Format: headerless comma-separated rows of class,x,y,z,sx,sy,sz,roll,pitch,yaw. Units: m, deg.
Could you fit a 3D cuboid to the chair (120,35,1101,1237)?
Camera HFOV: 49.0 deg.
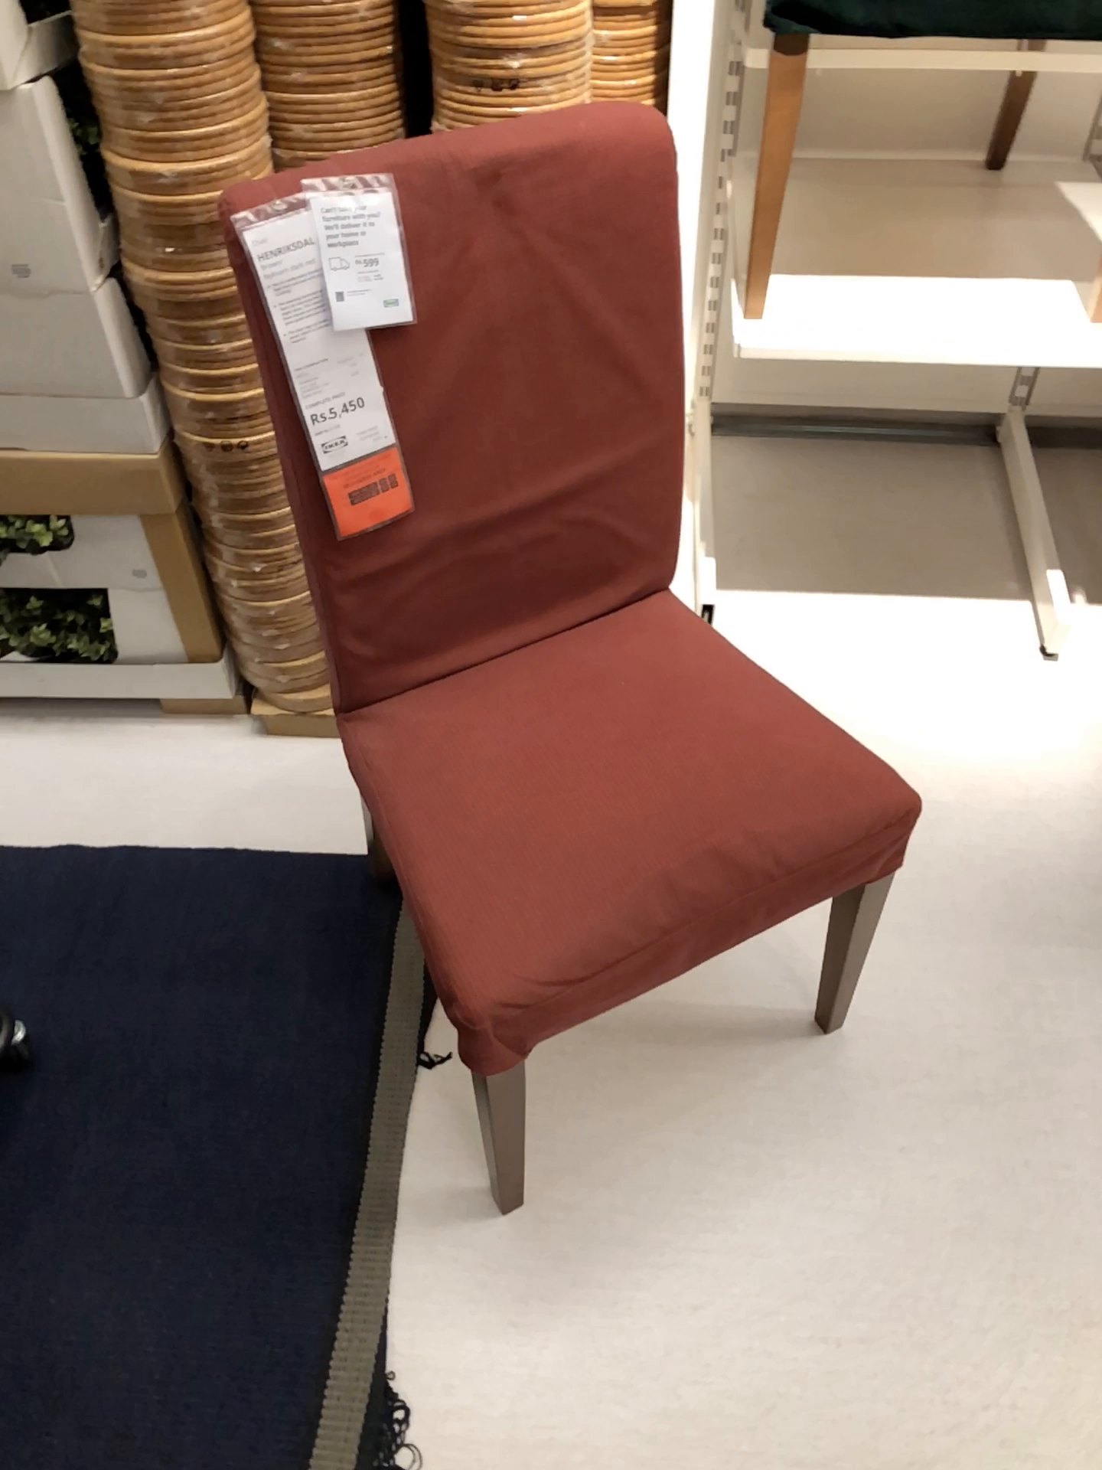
chair,0.025,-0.040,1.233,0.521,0.994,0.533,-22,51,-19
